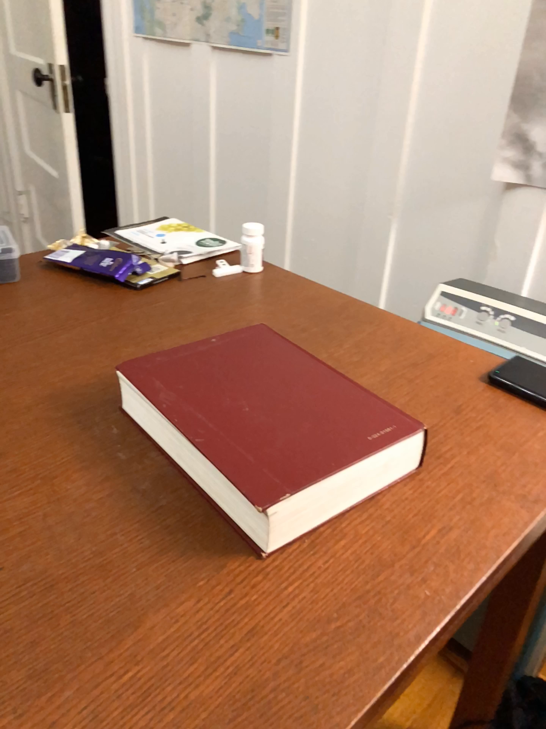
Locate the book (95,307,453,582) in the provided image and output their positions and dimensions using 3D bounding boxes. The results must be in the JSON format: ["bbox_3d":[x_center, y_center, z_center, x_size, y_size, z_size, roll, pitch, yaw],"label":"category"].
[{"bbox_3d":[-0.012,0.048,0.604,0.221,0.070,0.291,-18,35,-34],"label":"book"}]
